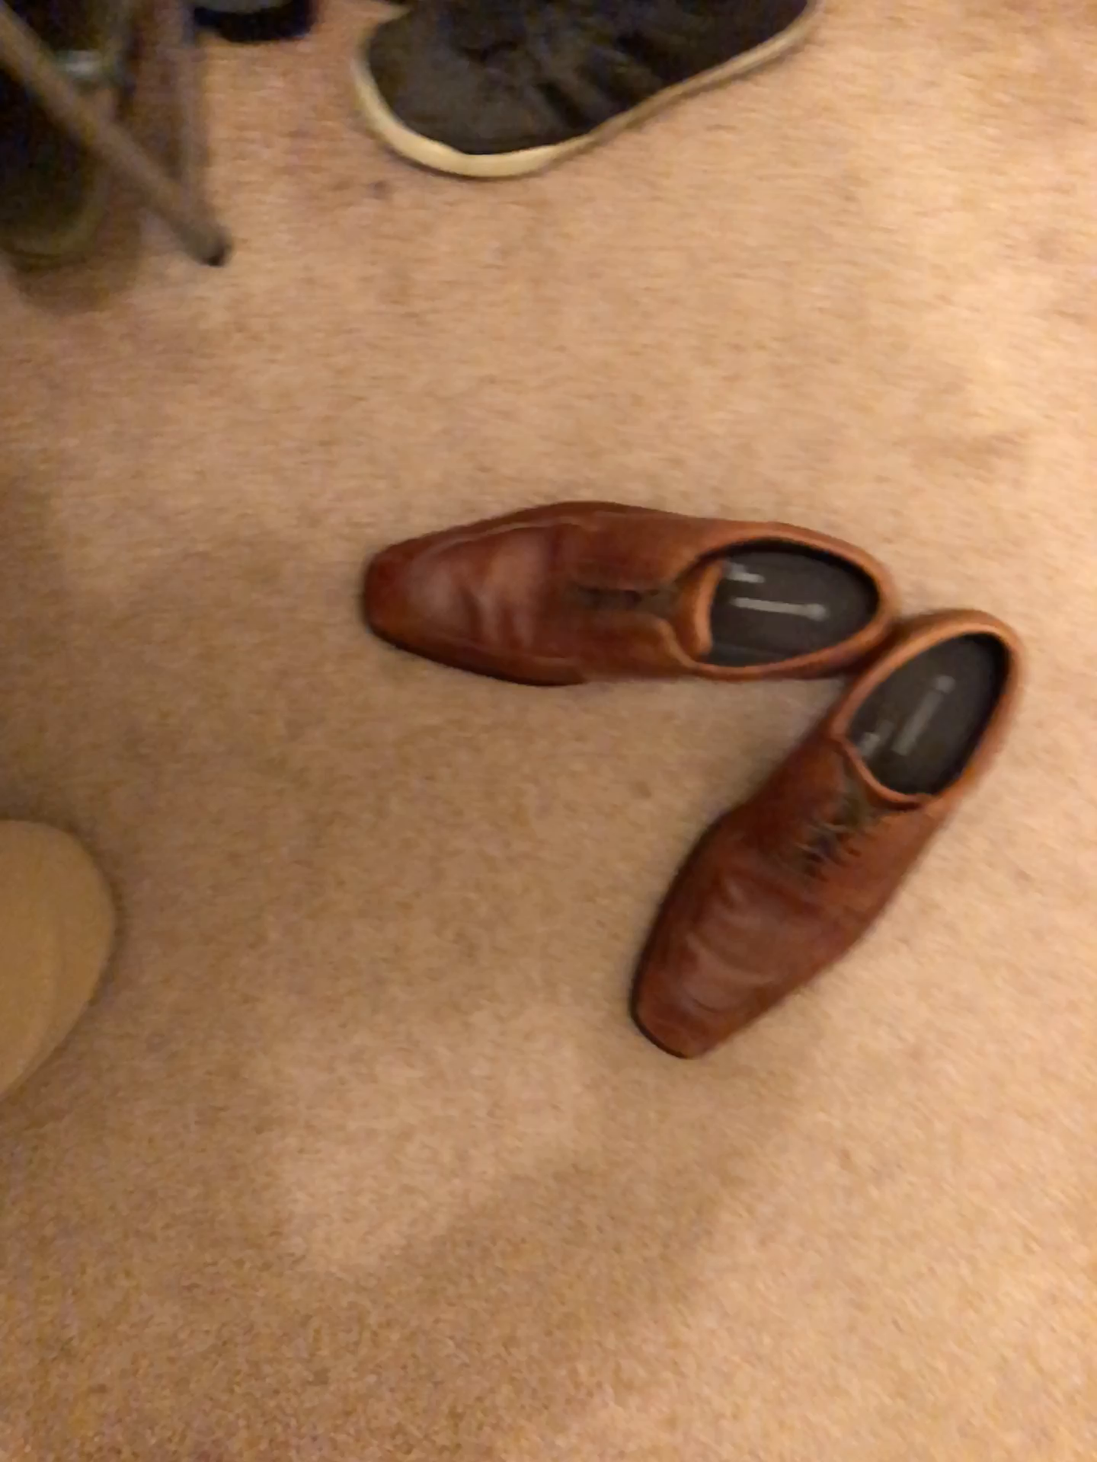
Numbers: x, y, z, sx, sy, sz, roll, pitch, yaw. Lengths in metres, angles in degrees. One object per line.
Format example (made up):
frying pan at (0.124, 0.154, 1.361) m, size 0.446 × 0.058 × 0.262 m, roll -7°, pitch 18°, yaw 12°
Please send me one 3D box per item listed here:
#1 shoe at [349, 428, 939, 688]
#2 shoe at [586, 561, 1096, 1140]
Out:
shoe at (0.051, -0.093, 0.687) m, size 0.300 × 0.120 × 0.120 m, roll 3°, pitch 90°, yaw 3°
shoe at (0.156, 0.062, 0.670) m, size 0.100 × 0.110 × 0.300 m, roll 39°, pitch 92°, yaw 3°
